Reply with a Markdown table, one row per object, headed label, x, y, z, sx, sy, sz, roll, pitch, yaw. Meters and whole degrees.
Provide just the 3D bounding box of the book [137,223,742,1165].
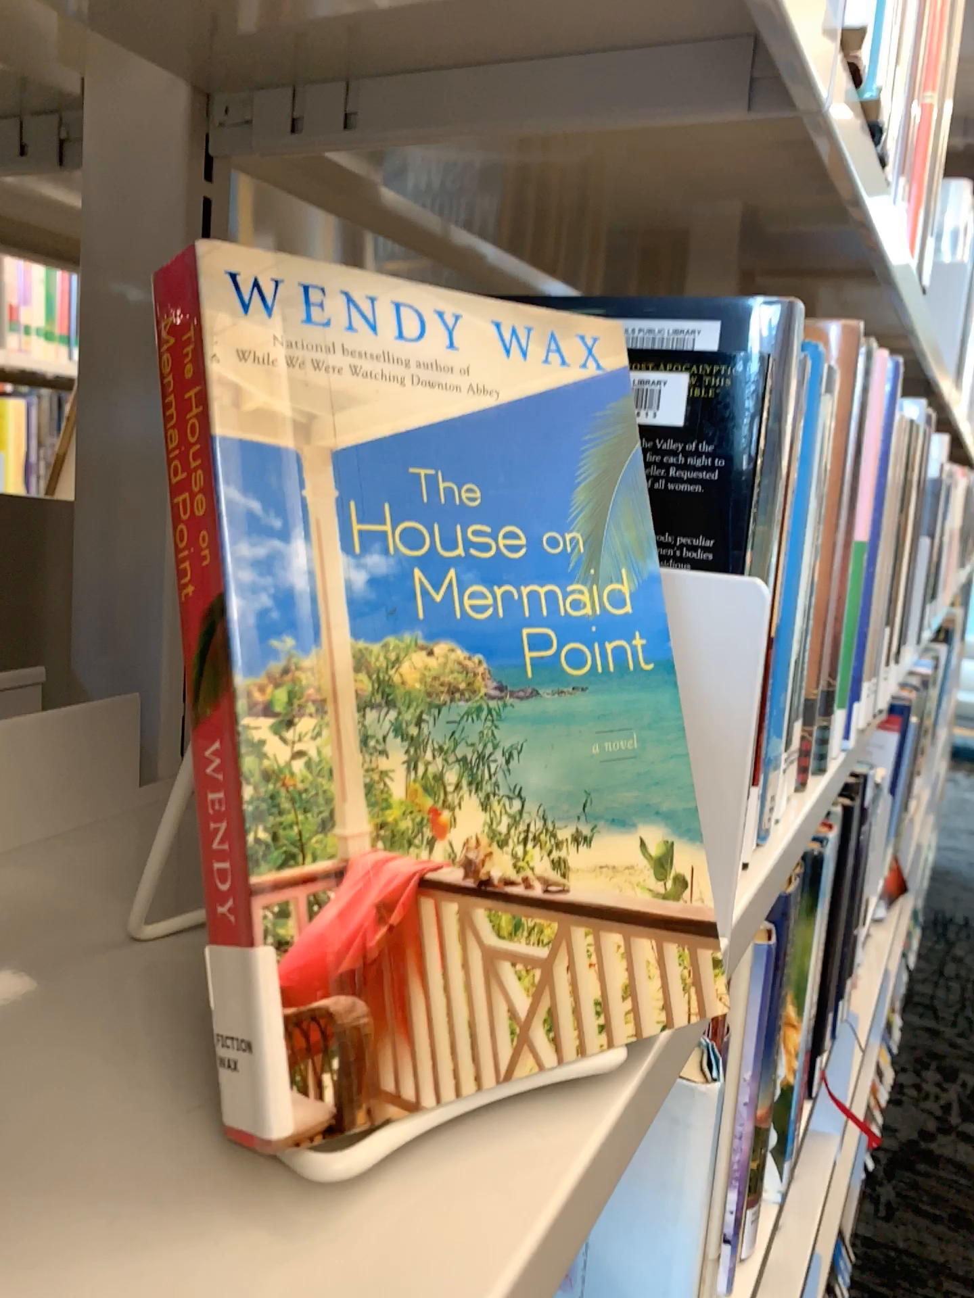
| label | x | y | z | sx | sy | sz | roll | pitch | yaw |
| --- | --- | --- | --- | --- | --- | --- | --- | --- | --- |
| book | -0.010 | 0.004 | 0.259 | 0.131 | 0.193 | 0.043 | -2 | -8 | -33 |
